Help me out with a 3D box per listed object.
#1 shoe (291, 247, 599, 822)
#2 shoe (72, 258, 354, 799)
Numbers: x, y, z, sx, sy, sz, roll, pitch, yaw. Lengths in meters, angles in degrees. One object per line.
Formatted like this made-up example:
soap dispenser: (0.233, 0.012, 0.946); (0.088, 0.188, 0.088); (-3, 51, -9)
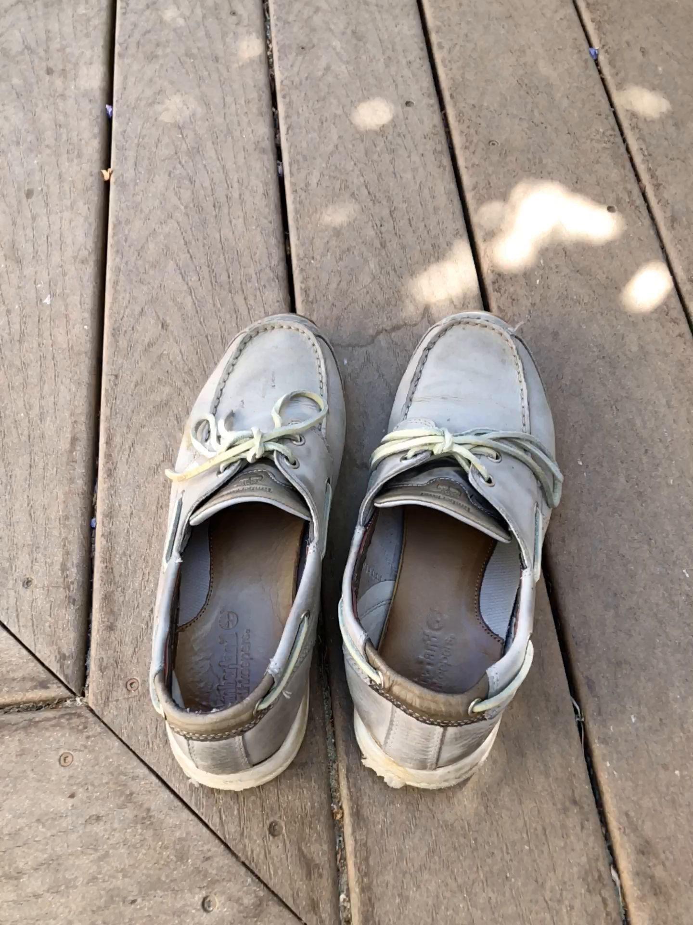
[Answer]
shoe: (0.067, 0.031, 0.456); (0.121, 0.097, 0.312); (10, 64, 7)
shoe: (-0.060, 0.029, 0.461); (0.119, 0.096, 0.311); (1, 63, 2)
